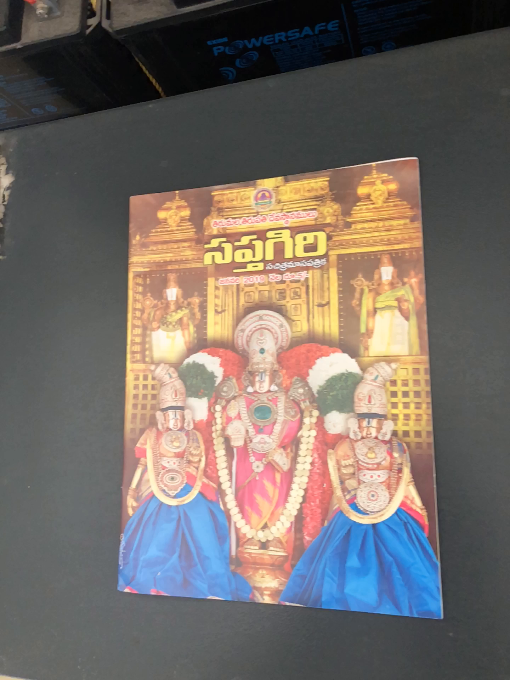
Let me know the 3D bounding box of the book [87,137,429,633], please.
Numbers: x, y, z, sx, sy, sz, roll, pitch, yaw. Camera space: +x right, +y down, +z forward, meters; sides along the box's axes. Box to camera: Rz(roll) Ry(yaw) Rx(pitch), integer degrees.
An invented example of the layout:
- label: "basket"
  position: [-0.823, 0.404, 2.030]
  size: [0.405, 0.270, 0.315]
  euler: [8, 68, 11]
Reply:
- label: "book"
  position: [-0.004, 0.023, 0.351]
  size: [0.200, 0.030, 0.270]
  euler: [-3, 80, 17]
